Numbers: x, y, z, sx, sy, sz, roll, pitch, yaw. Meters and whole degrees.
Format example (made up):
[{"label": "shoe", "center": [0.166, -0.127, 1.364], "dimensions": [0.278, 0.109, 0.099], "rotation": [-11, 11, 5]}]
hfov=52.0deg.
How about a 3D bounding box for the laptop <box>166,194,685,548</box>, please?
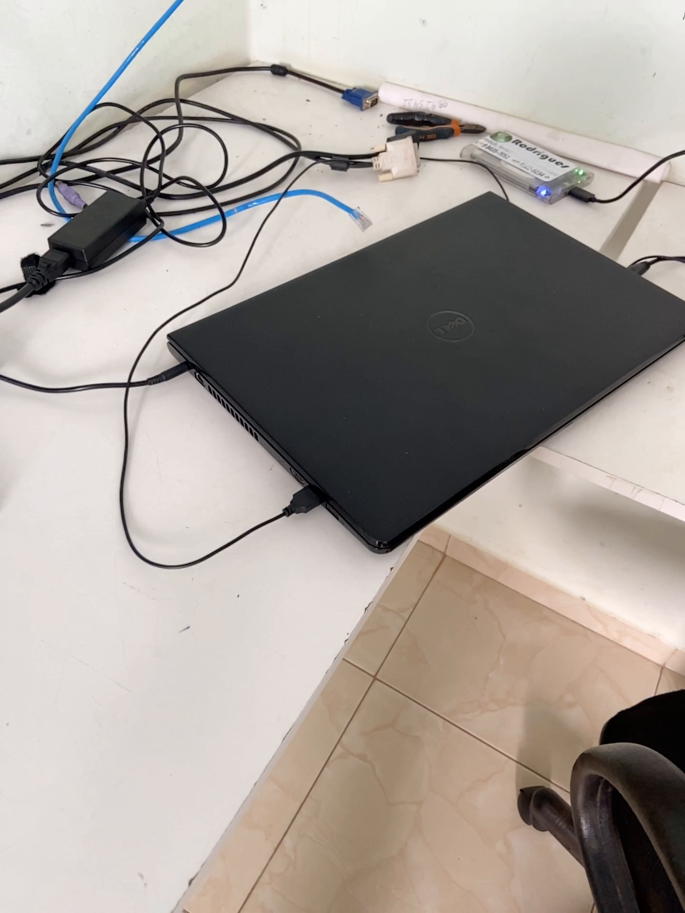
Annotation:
[{"label": "laptop", "center": [0.084, -0.109, 0.582], "dimensions": [0.377, 0.003, 0.260], "rotation": [-31, 56, -27]}]
